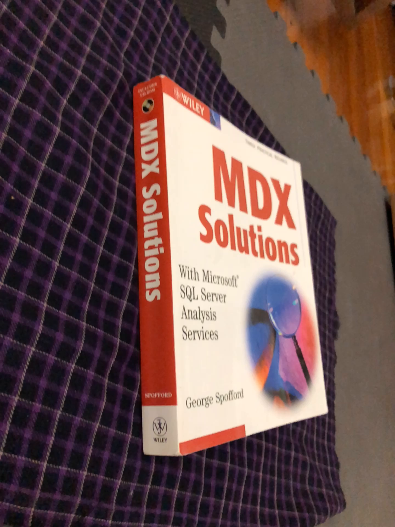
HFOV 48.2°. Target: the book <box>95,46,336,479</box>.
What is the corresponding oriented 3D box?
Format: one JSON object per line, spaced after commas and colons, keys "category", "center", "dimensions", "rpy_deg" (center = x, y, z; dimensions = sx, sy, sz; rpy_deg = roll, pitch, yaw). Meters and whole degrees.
{"category": "book", "center": [0.027, 0.003, 0.358], "dimensions": [0.221, 0.050, 0.260], "rpy_deg": [11, 70, -51]}
